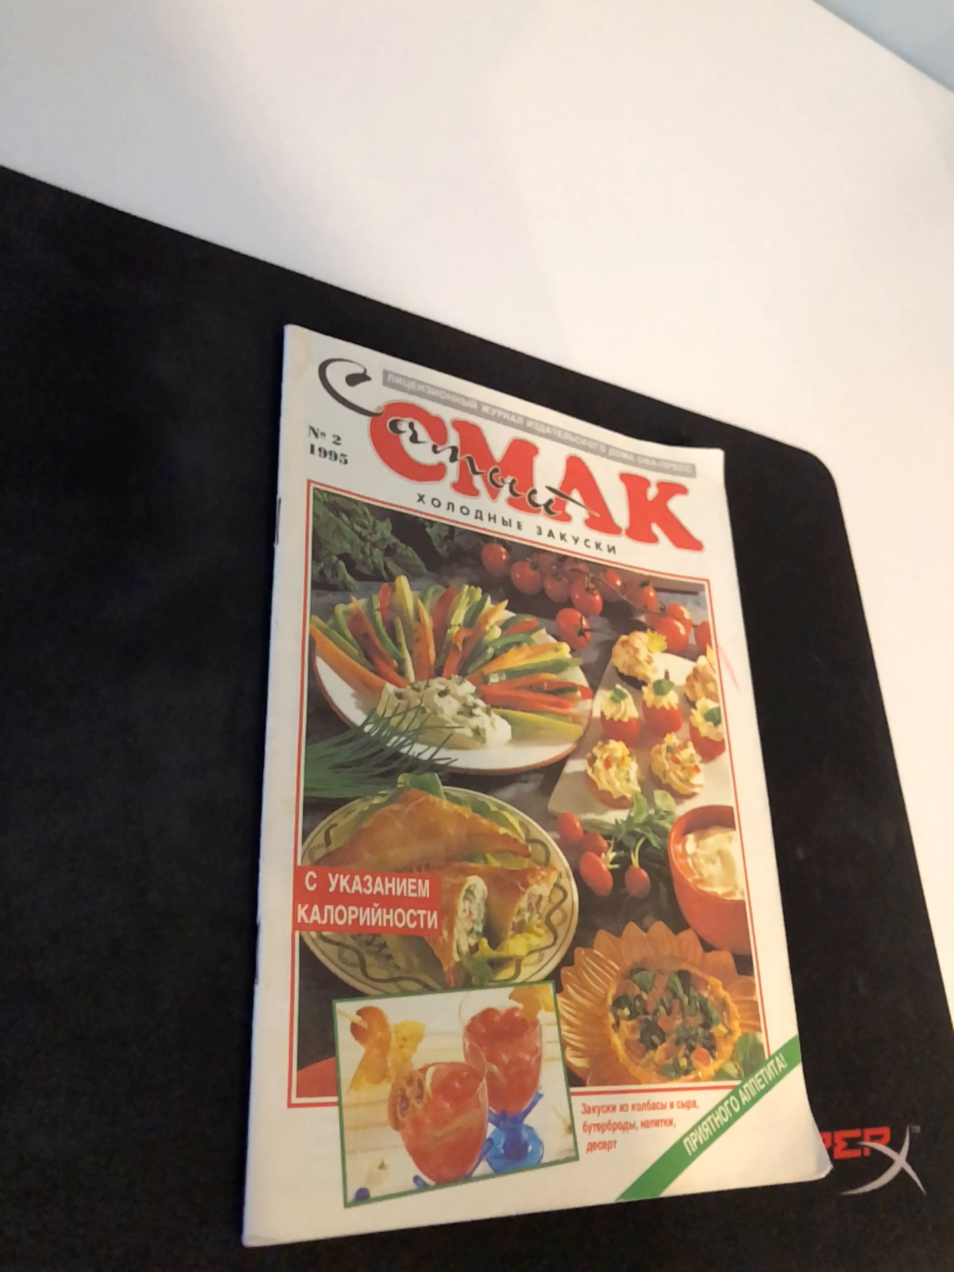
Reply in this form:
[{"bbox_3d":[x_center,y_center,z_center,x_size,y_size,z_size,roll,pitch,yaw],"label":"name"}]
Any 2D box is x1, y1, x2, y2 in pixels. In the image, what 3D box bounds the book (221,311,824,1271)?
[{"bbox_3d":[0.016,0.030,0.290,0.161,0.010,0.231,11,64,-29],"label":"book"}]
